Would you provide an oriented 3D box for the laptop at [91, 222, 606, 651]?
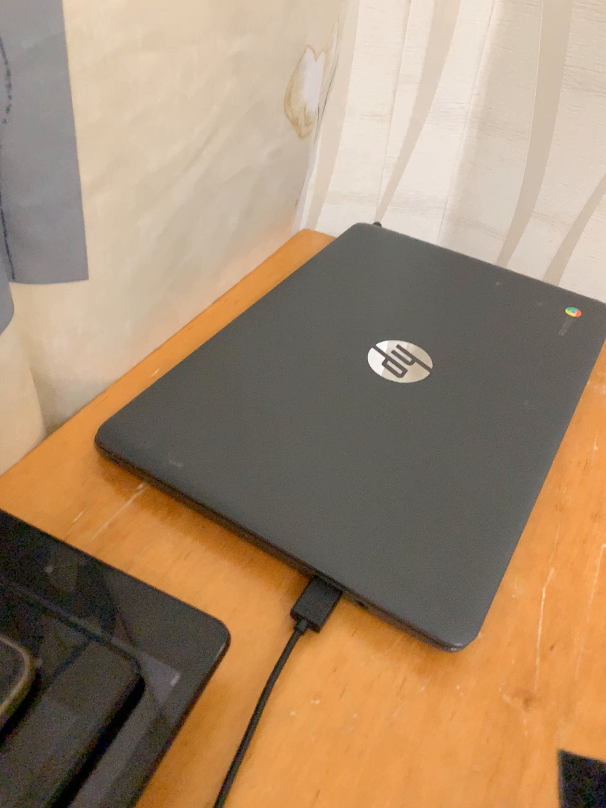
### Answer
[{"bbox_3d":[0.052,-0.023,0.364,0.194,0.002,0.283,25,47,20],"label":"laptop"}]
